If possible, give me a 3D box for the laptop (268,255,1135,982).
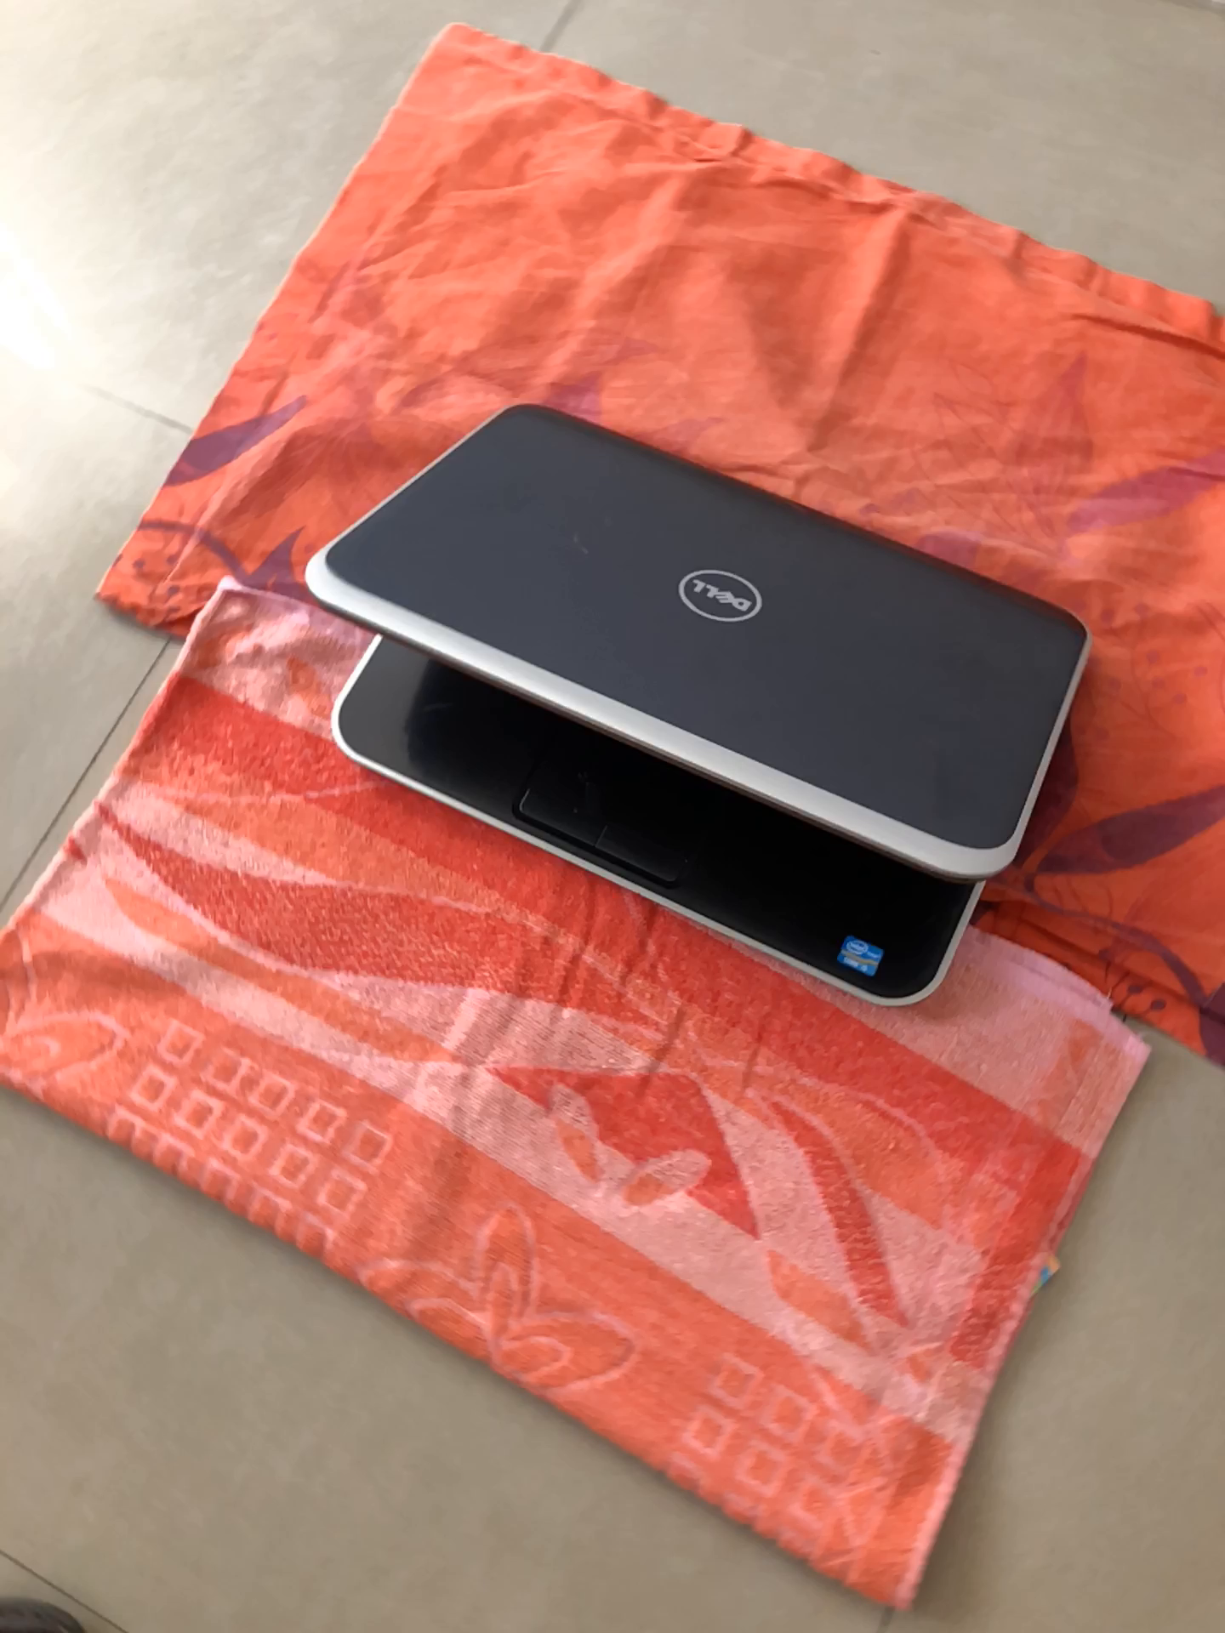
[{"bbox_3d":[0.049,-0.105,0.706,0.345,0.129,0.242,24,73,10],"label":"laptop"}]
